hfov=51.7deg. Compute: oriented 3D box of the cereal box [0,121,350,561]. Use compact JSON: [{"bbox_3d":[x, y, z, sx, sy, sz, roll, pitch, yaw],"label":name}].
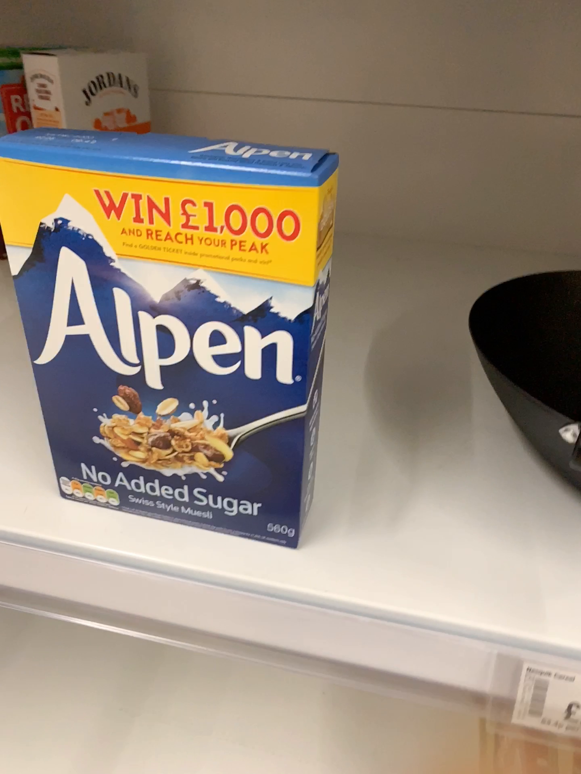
[{"bbox_3d":[-0.068,-0.022,0.364,0.180,0.238,0.061,10,31,12],"label":"cereal box"}]
